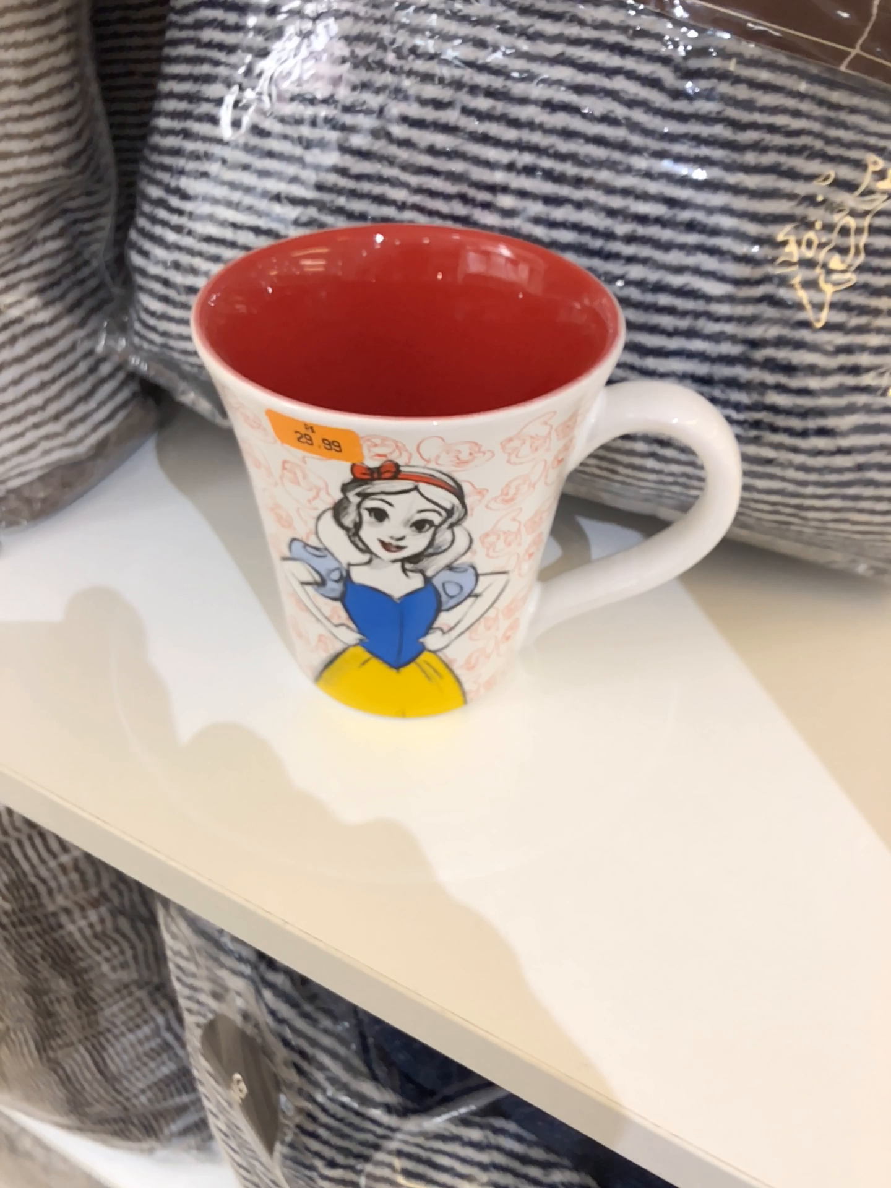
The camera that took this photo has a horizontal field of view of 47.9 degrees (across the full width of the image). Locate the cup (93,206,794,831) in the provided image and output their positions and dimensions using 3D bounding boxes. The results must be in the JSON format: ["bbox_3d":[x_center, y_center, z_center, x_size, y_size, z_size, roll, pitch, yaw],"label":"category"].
[{"bbox_3d":[0.005,-0.021,0.230,0.120,0.089,0.091,10,43,8],"label":"cup"}]

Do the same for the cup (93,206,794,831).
[{"bbox_3d":[0.005,-0.021,0.230,0.120,0.089,0.091,10,43,8],"label":"cup"}]
